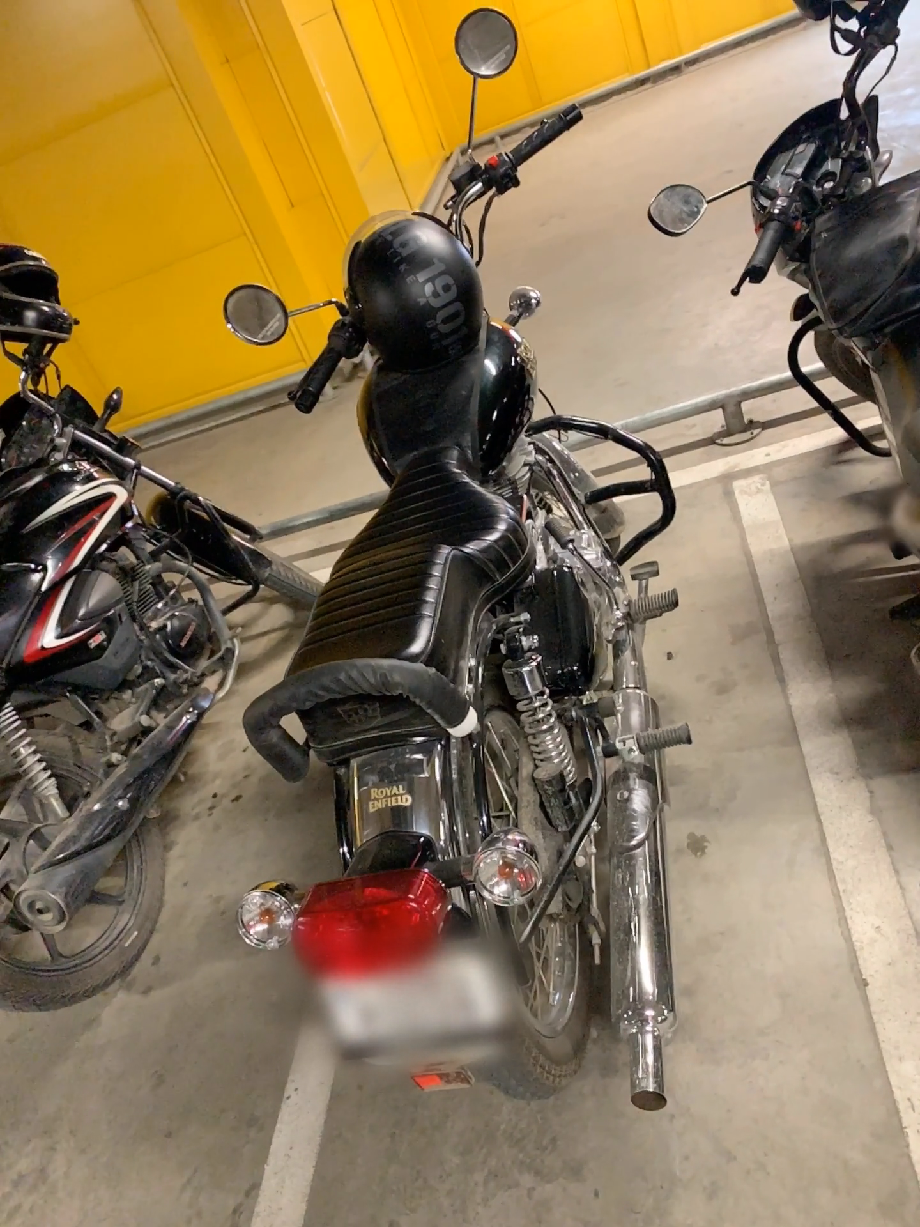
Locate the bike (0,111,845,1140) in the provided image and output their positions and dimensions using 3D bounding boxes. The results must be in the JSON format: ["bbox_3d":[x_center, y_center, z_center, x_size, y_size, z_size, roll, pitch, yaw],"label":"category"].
[{"bbox_3d":[-0.090,-0.183,1.827,0.763,1.050,1.834,-18,32,10],"label":"bike"}]

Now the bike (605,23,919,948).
[{"bbox_3d":[0.741,-0.437,1.728,0.598,0.924,1.727,-16,31,14],"label":"bike"}]
